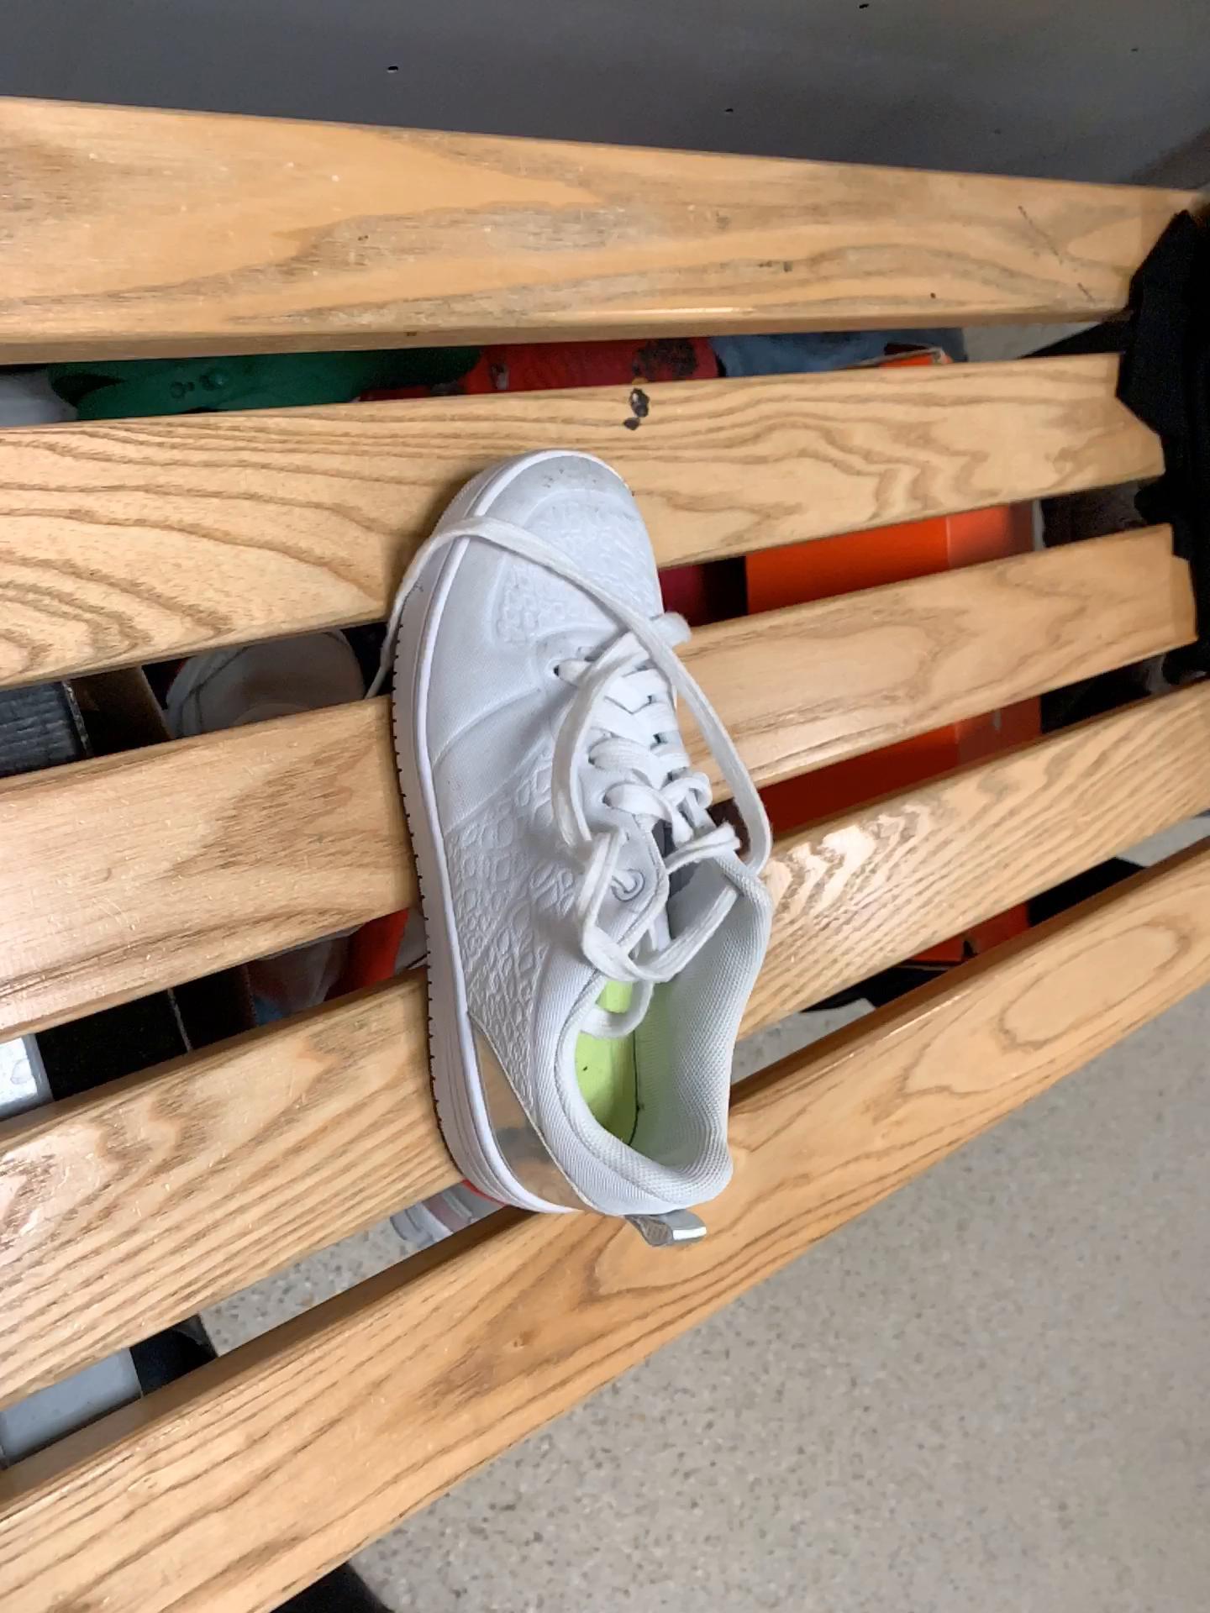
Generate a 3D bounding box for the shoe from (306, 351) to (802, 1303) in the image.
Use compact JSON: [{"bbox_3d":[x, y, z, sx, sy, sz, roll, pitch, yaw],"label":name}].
[{"bbox_3d":[-0.016,0.003,0.384,0.100,0.076,0.250,-7,90,-36],"label":"shoe"}]
